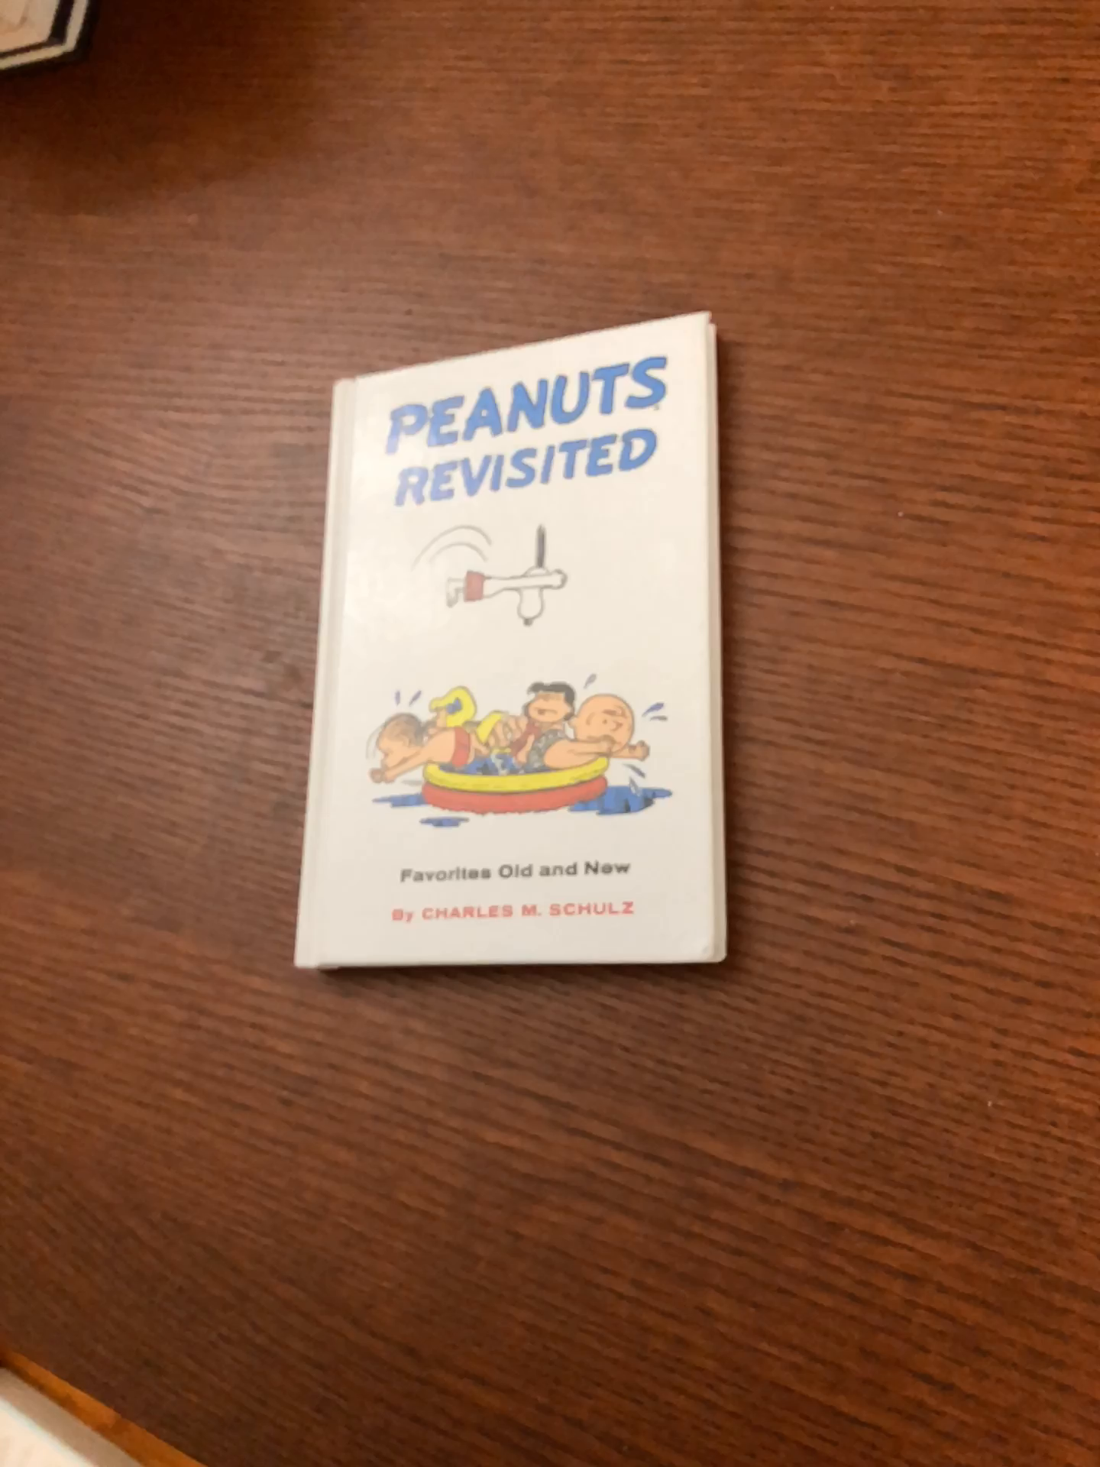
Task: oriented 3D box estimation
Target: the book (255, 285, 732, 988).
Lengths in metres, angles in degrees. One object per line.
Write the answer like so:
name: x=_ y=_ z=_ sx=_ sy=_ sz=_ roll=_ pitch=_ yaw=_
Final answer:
book: x=-0.018 y=-0.030 z=0.402 sx=0.150 sy=0.020 sz=0.220 roll=-4 pitch=74 yaw=21
